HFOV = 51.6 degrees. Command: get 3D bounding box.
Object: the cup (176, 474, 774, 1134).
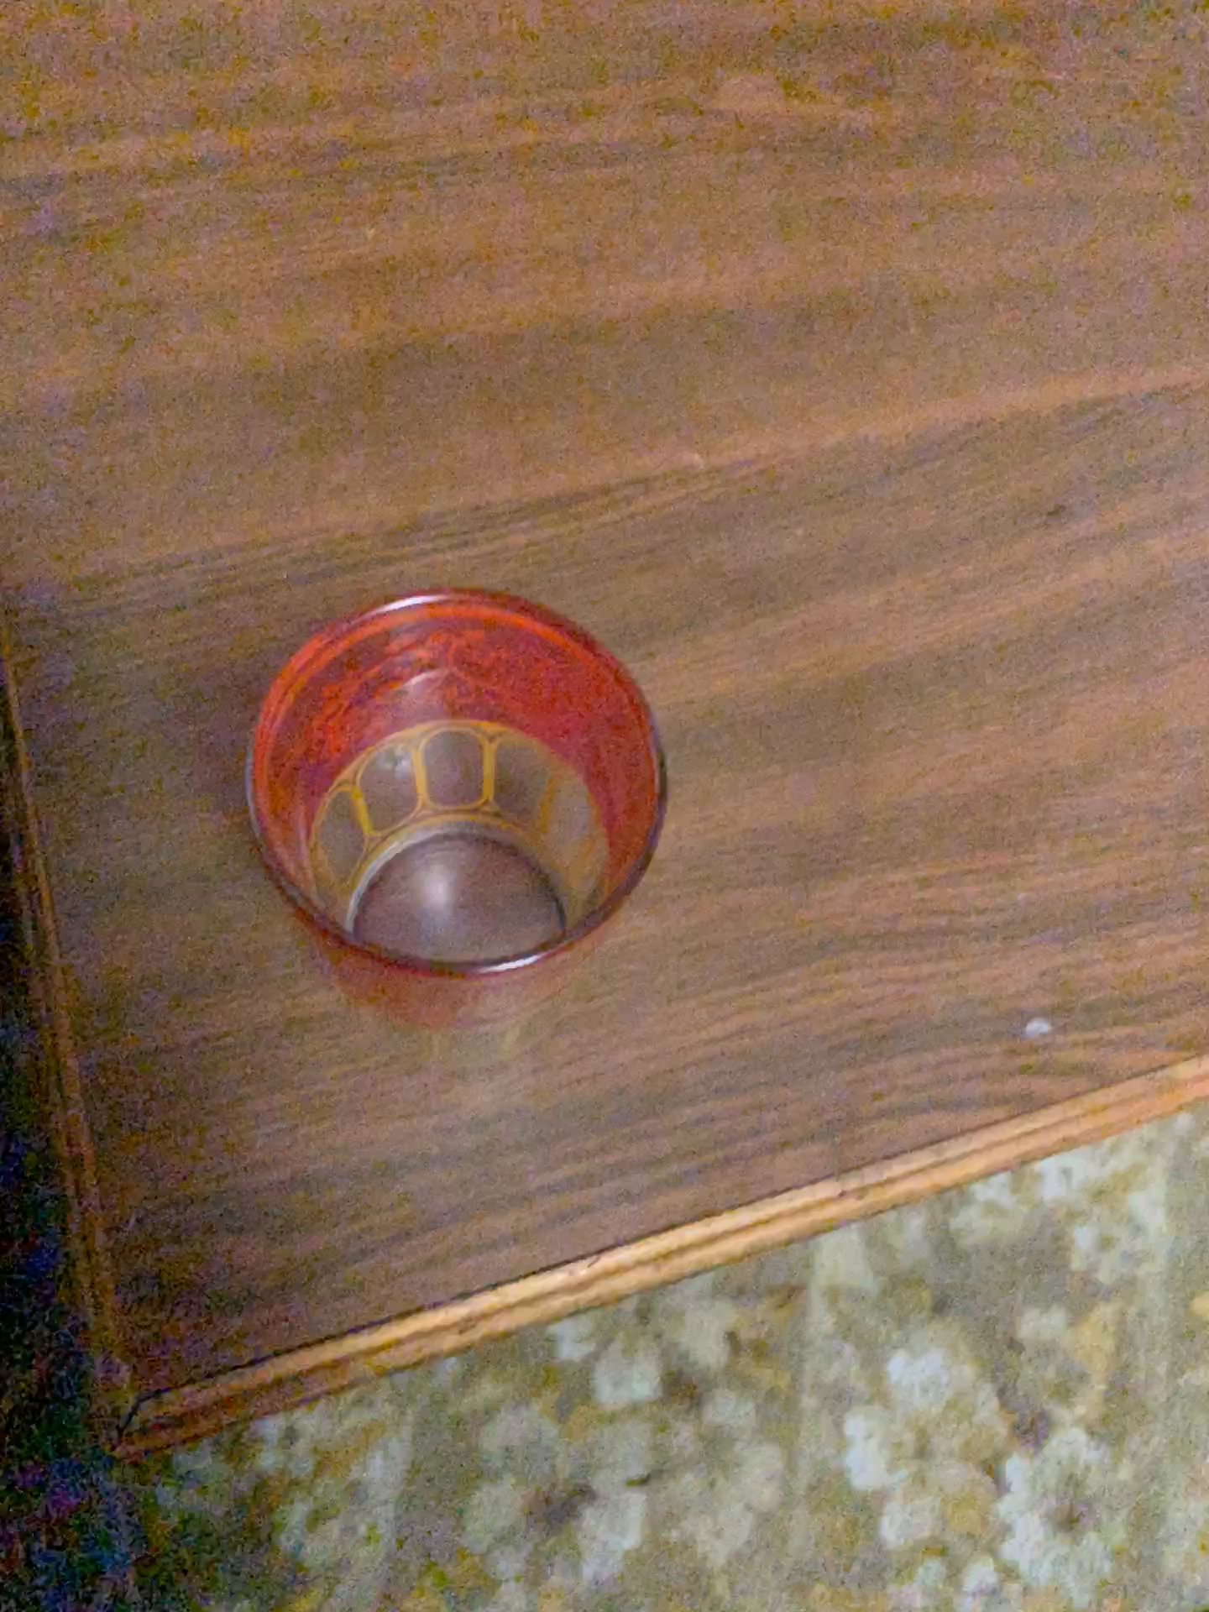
[{"bbox_3d":[-0.024,0.007,0.226,0.067,0.099,0.070,2,67,-5],"label":"cup"}]
